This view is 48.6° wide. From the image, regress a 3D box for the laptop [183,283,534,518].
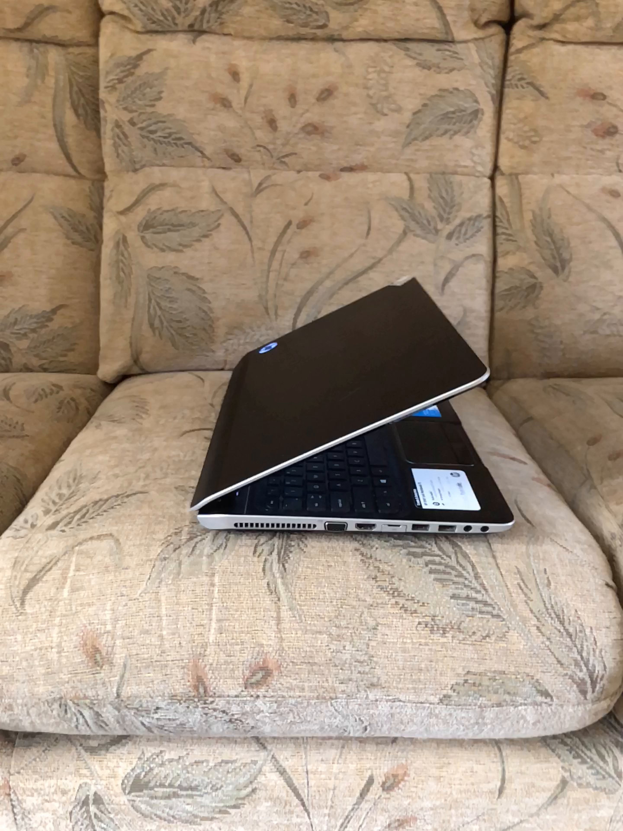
[{"bbox_3d":[0.034,-0.042,0.710,0.253,0.113,0.399,0,22,-1],"label":"laptop"}]
